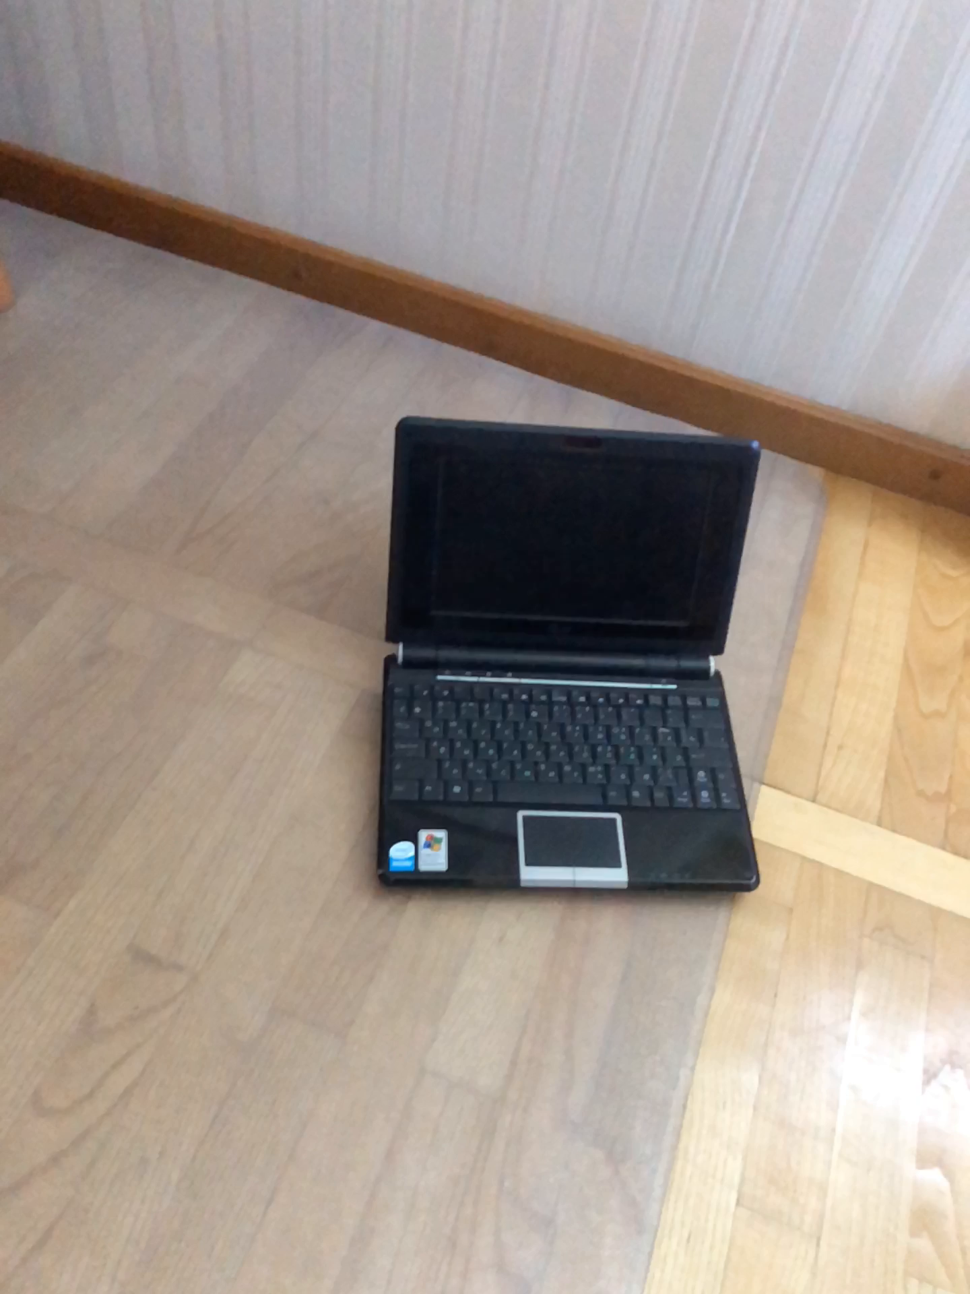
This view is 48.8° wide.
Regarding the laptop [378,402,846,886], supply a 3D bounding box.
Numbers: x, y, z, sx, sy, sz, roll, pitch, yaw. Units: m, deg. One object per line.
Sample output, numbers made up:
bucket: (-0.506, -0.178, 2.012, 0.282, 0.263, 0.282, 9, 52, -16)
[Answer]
laptop: (0.064, -0.002, 0.748, 0.264, 0.159, 0.278, 3, 53, -8)
